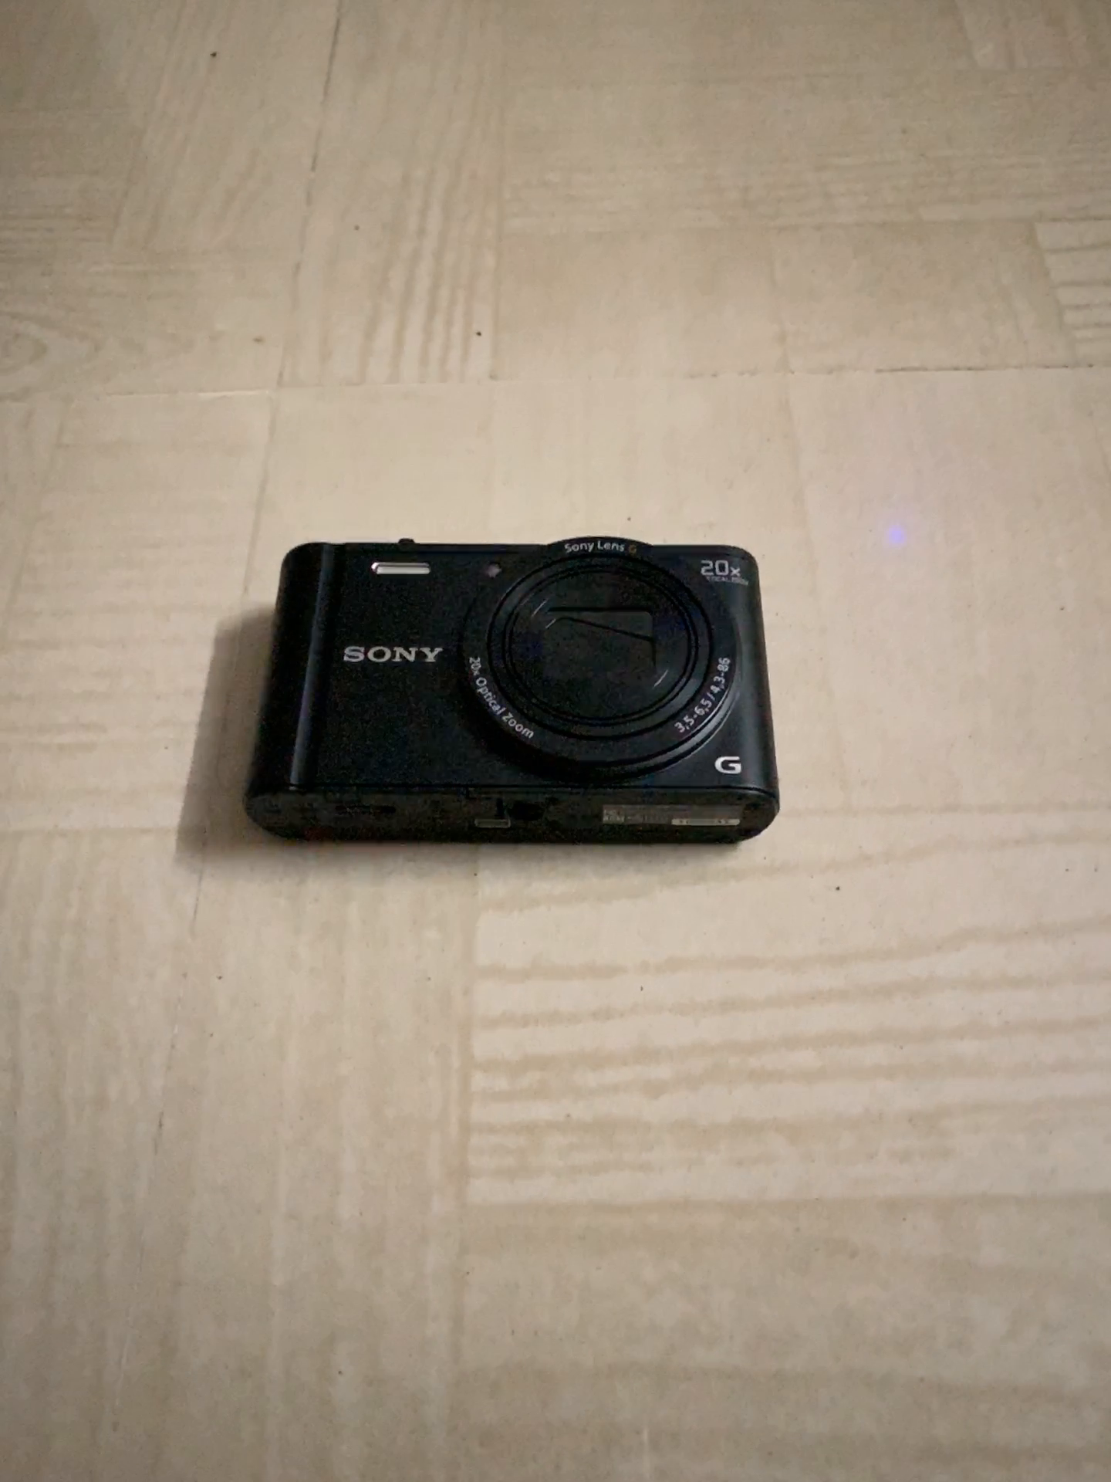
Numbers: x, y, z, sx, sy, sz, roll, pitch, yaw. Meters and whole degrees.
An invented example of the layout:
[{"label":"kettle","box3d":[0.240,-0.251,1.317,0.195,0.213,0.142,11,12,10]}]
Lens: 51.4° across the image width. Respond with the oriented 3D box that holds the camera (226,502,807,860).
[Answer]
[{"label":"camera","box3d":[-0.006,-0.011,0.208,0.092,0.025,0.060,0,61,2]}]
